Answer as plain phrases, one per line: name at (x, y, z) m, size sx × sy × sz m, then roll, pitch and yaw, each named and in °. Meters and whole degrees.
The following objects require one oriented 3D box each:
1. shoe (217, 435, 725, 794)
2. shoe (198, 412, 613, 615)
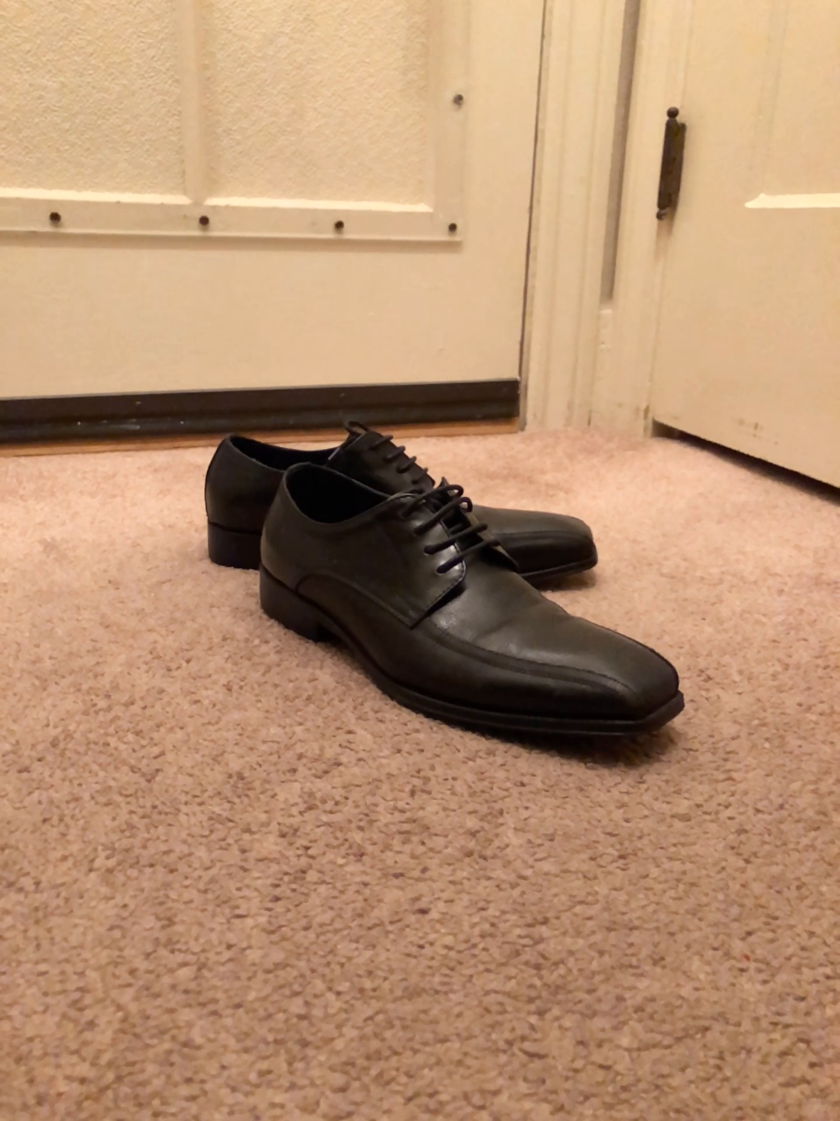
shoe at (0.014, 0.011, 0.545) m, size 0.283 × 0.107 × 0.110 m, roll 19°, pitch 25°, yaw 39°
shoe at (-0.008, -0.043, 0.726) m, size 0.297 × 0.110 × 0.116 m, roll 4°, pitch 20°, yaw 6°
